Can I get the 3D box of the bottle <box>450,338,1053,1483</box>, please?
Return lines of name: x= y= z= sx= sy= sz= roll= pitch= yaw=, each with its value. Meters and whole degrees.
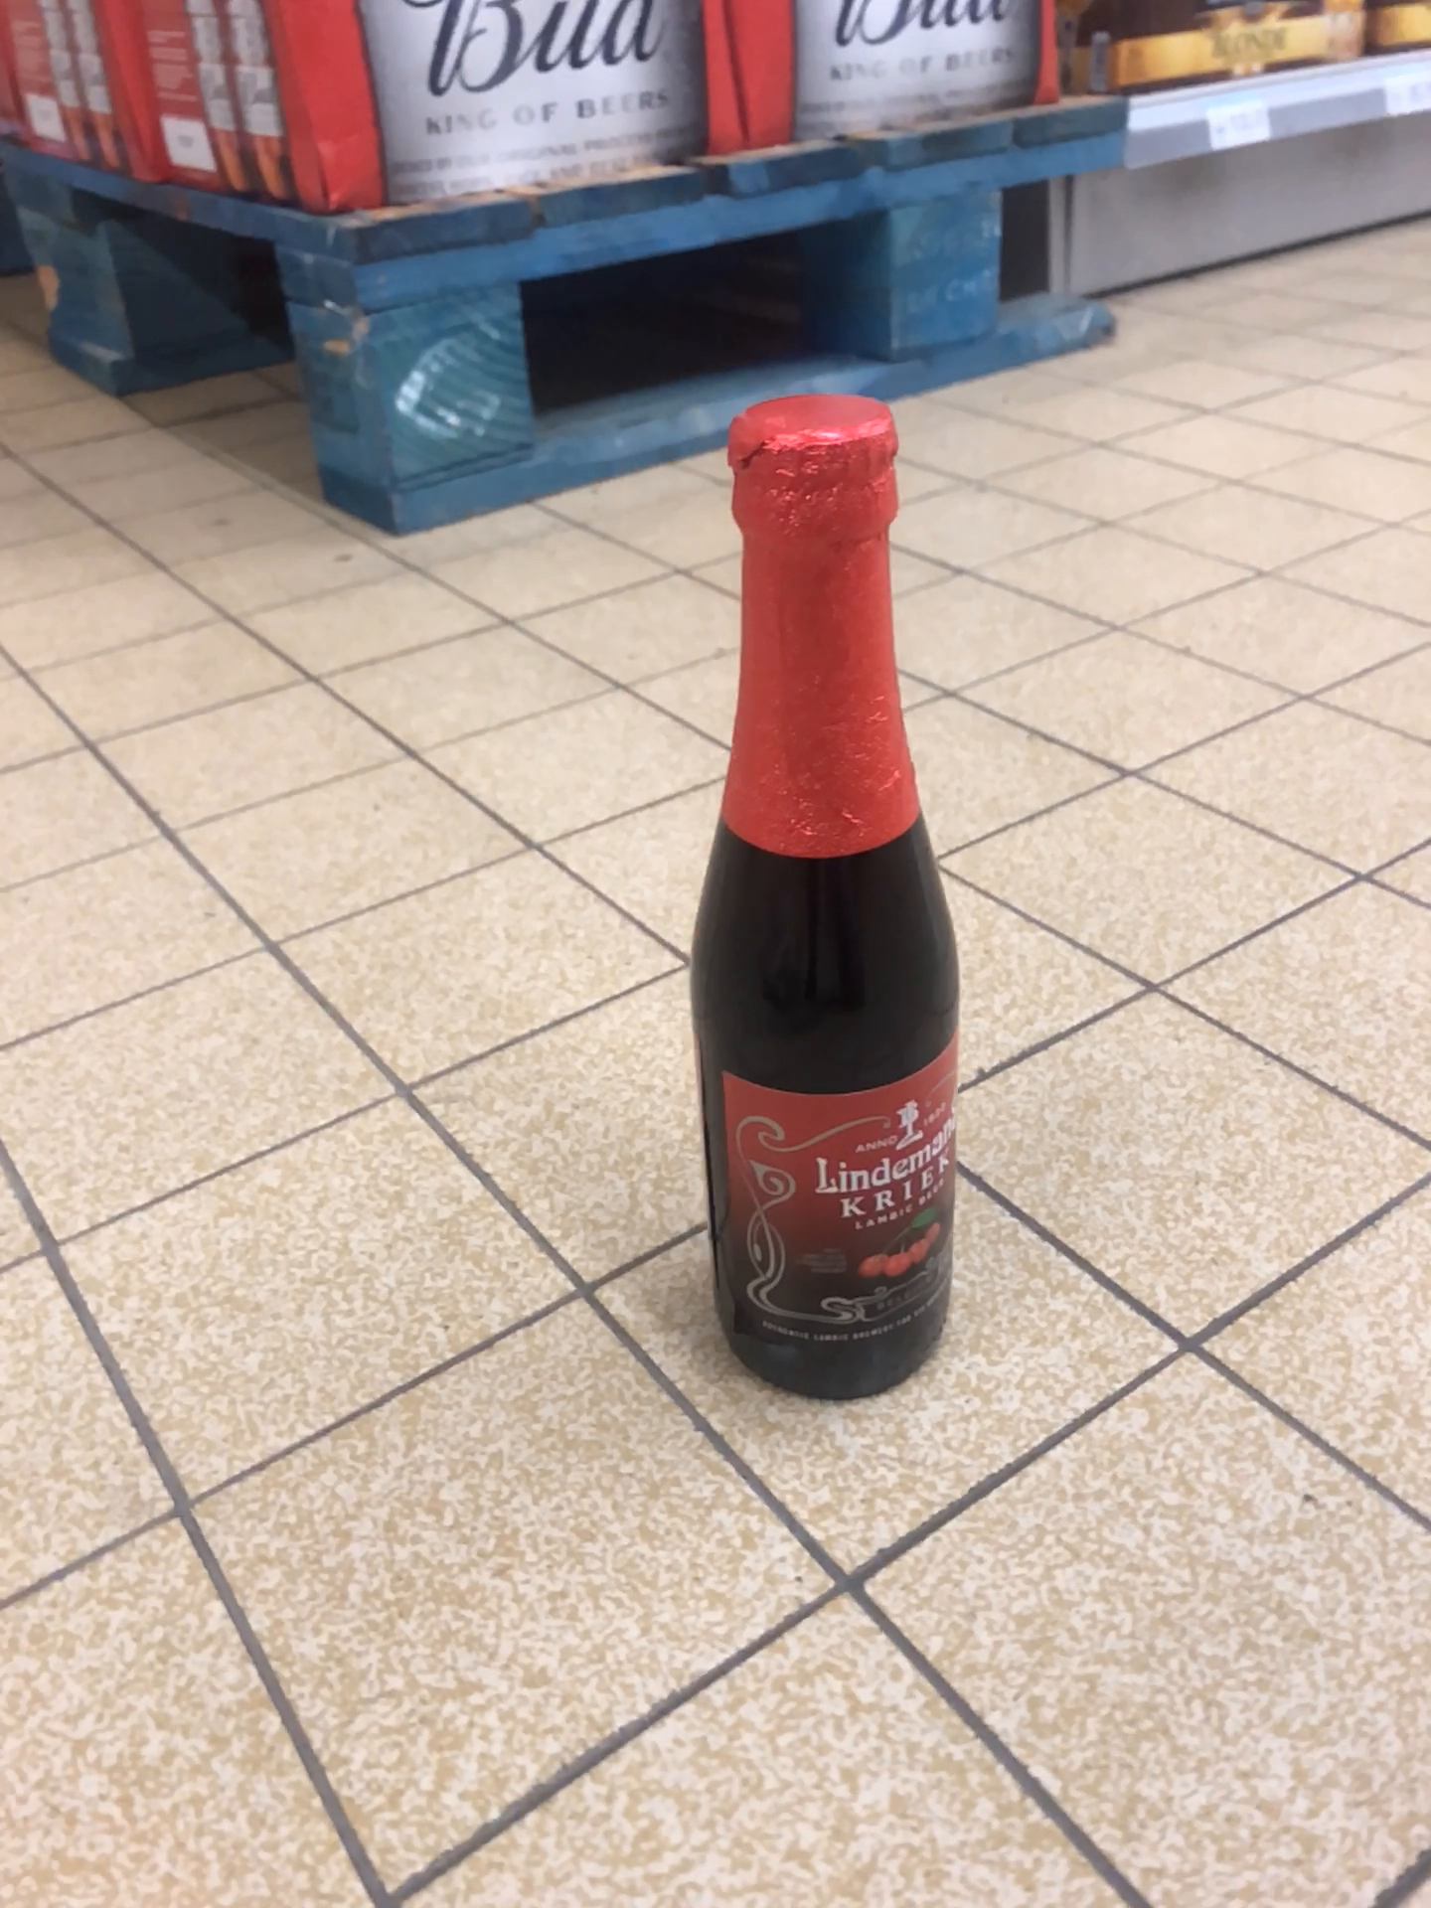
bottle: x=0.010 y=-0.004 z=0.306 sx=0.070 sy=0.199 sz=0.070 roll=-3 pitch=32 yaw=2
